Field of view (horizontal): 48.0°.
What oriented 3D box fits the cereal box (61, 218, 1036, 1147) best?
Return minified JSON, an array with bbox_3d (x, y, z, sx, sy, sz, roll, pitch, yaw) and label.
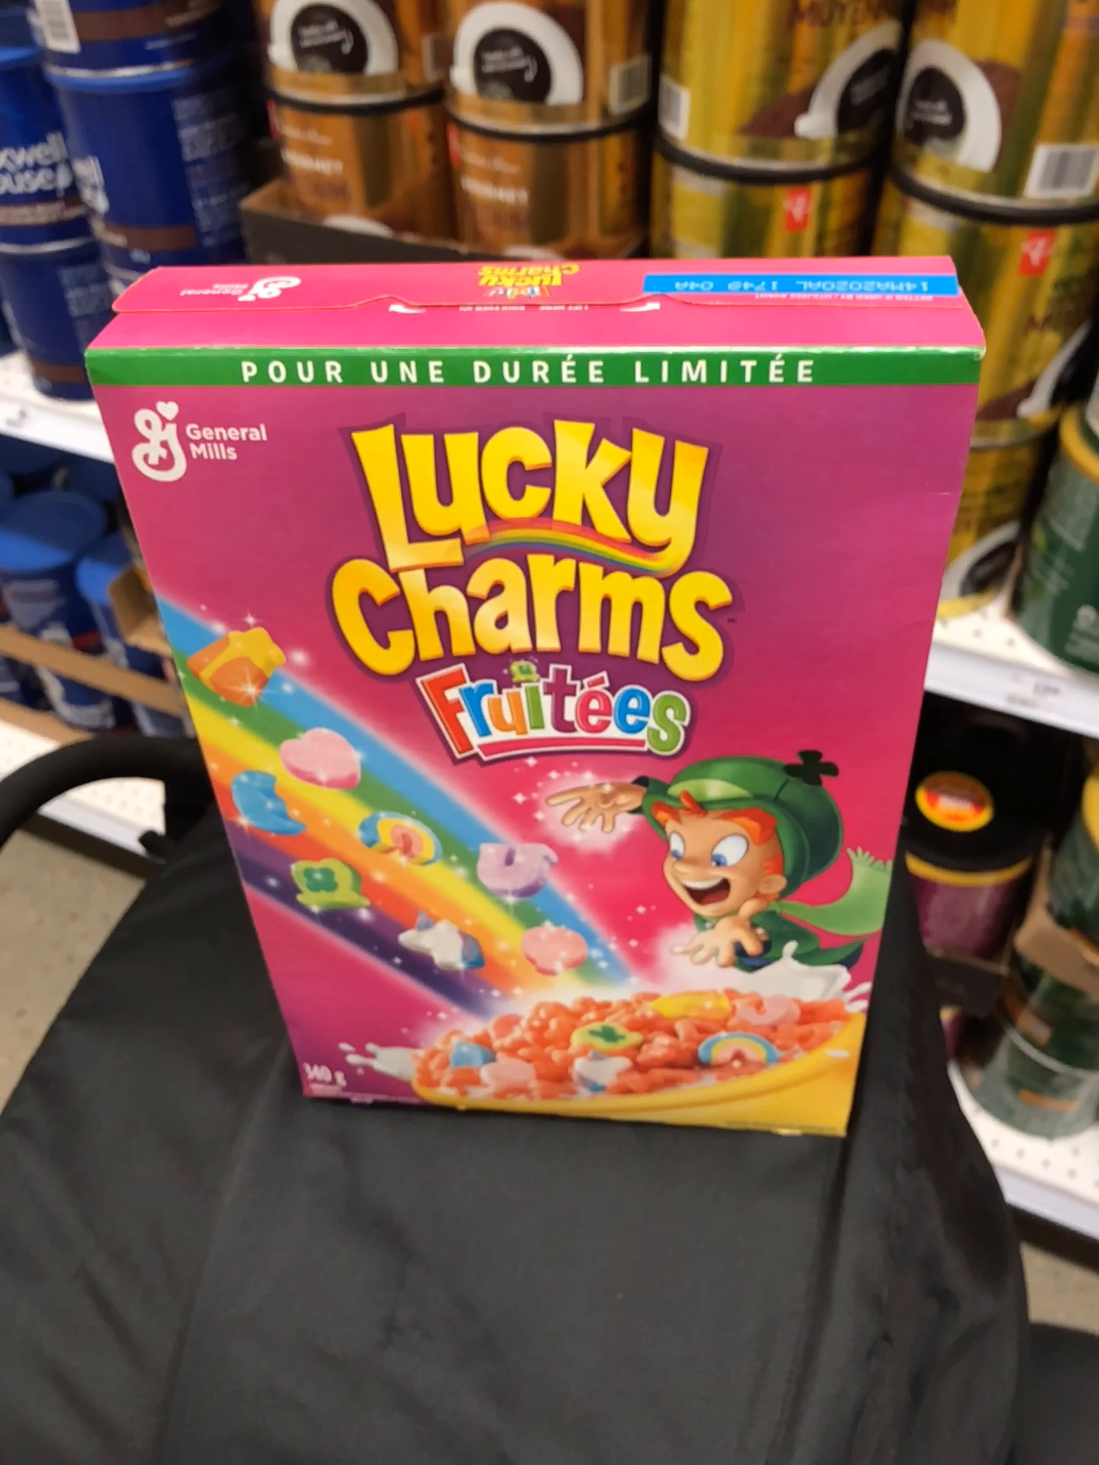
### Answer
[{"bbox_3d":[0.003,0.009,0.371,0.200,0.299,0.060,2,41,5],"label":"cereal box"}]
